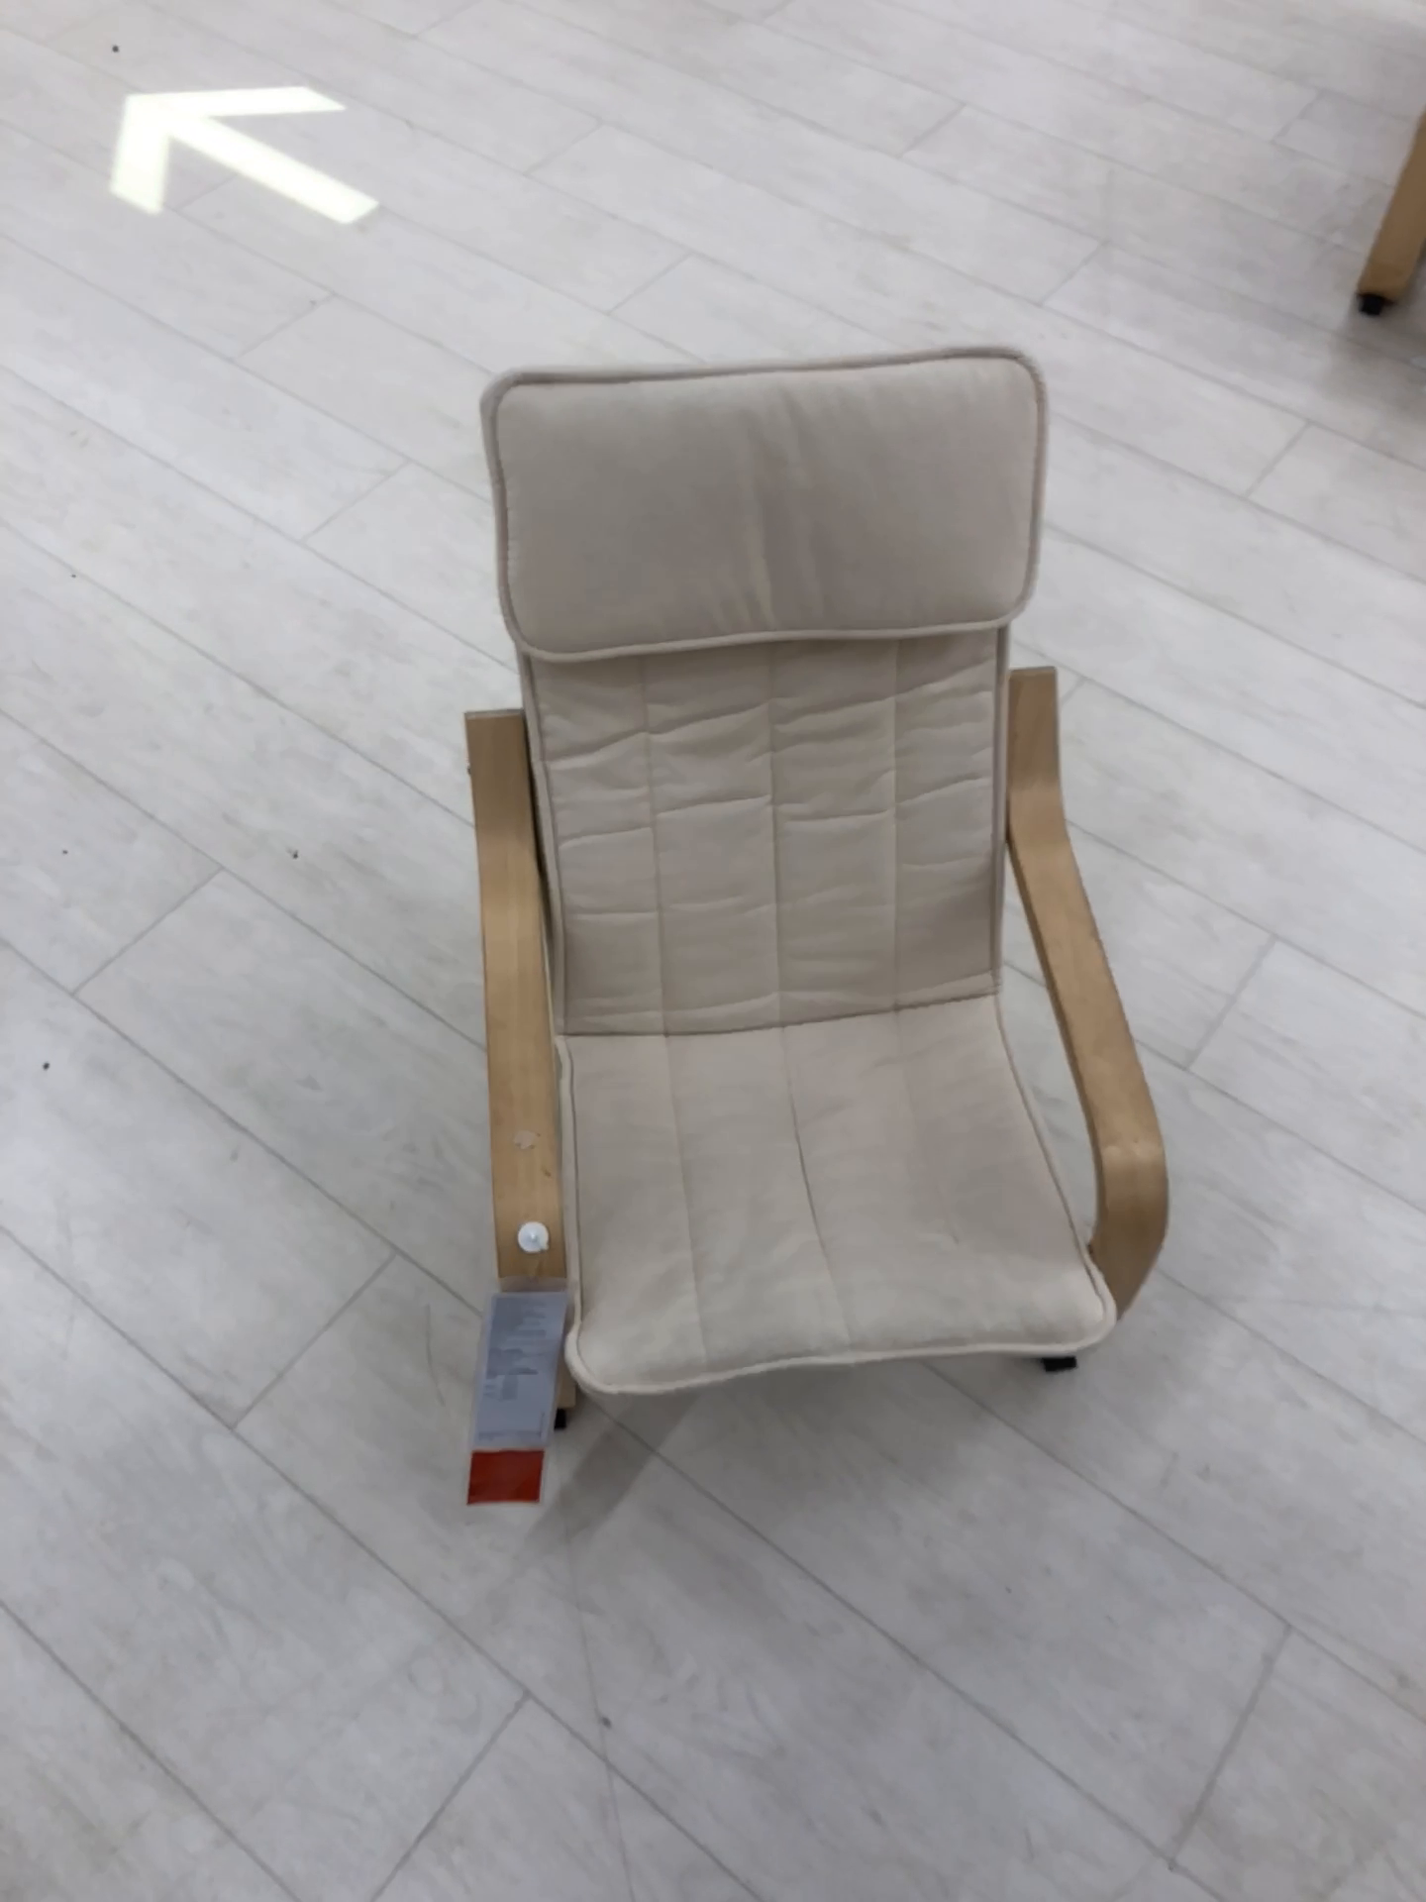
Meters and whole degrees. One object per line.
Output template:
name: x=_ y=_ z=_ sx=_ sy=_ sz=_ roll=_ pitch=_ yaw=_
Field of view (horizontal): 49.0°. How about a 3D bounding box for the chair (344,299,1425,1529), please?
chair: x=0.057 y=0.013 z=1.152 sx=0.530 sy=0.688 sz=0.561 roll=-6 pitch=56 yaw=-5
